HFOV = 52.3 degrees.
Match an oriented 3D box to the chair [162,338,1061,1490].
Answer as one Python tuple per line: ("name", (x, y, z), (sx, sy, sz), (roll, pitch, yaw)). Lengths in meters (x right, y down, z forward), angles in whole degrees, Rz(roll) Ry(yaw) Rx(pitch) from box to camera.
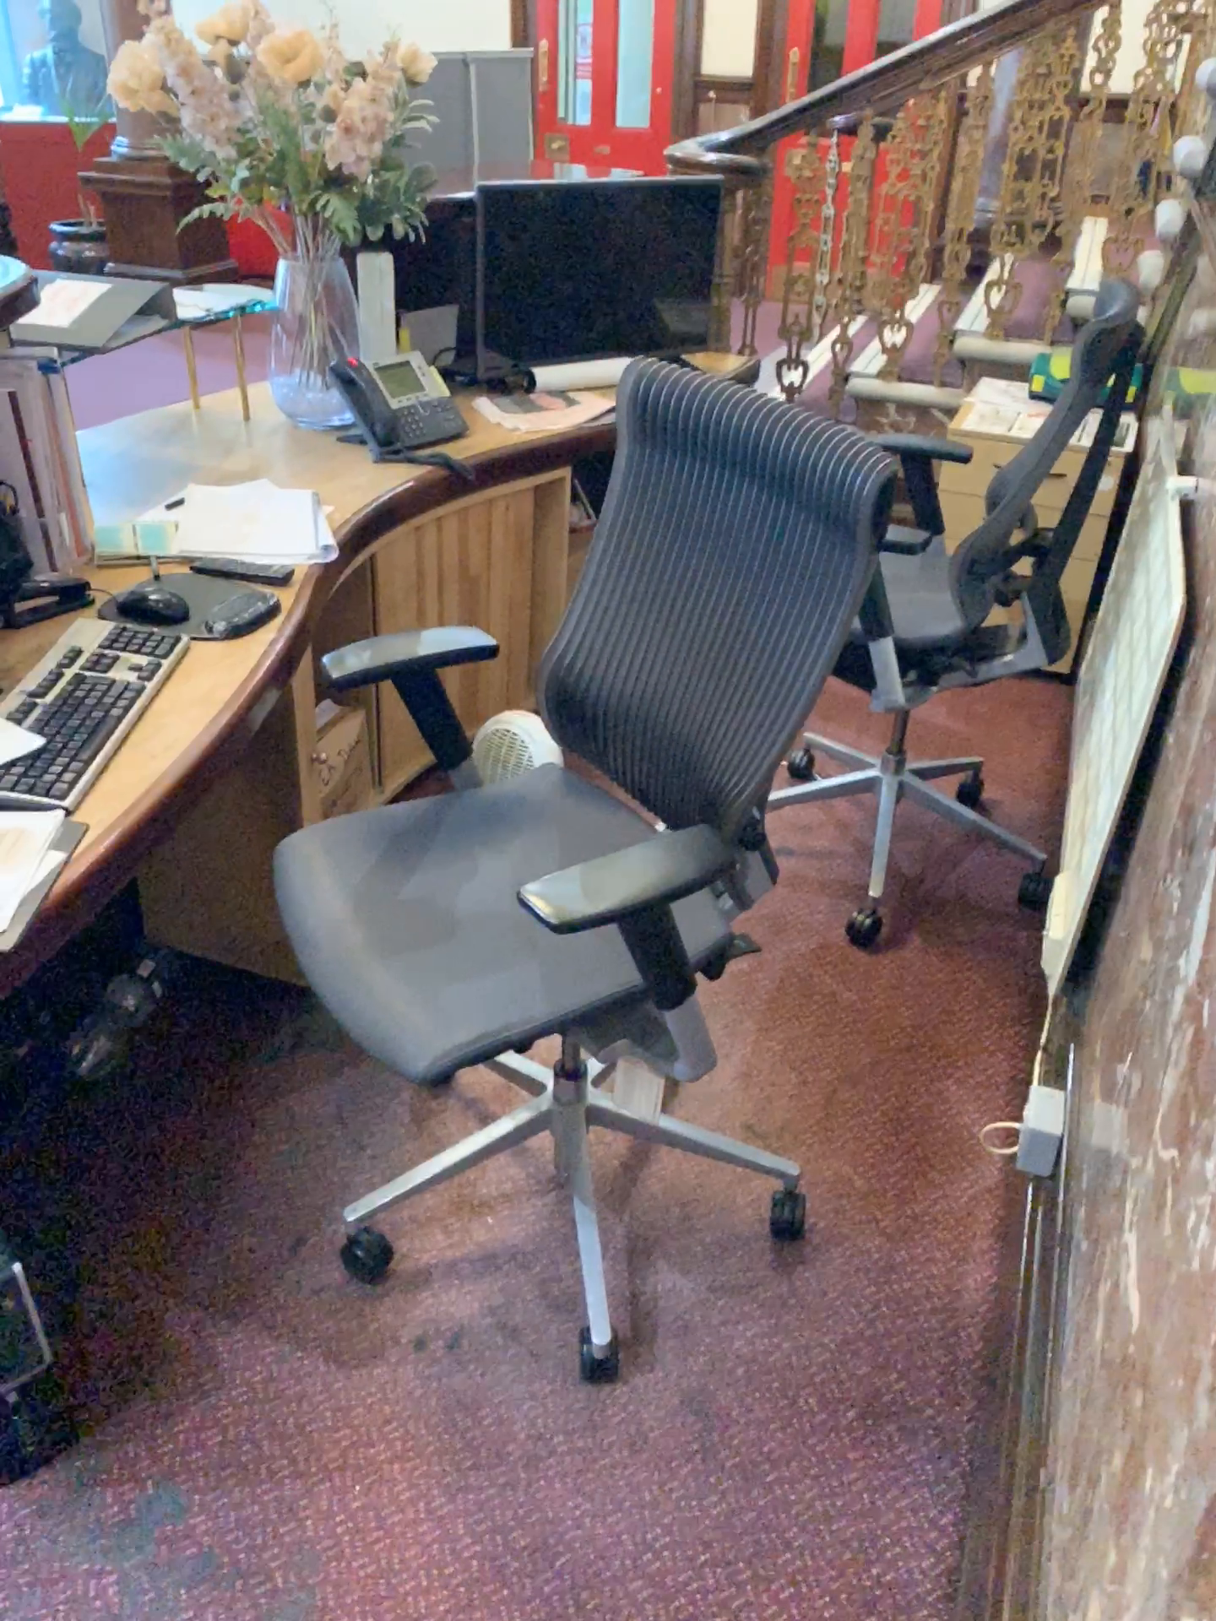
("chair", (-0.054, 0.077, 1.604), (0.691, 1.129, 0.725), (-15, 35, -25))
